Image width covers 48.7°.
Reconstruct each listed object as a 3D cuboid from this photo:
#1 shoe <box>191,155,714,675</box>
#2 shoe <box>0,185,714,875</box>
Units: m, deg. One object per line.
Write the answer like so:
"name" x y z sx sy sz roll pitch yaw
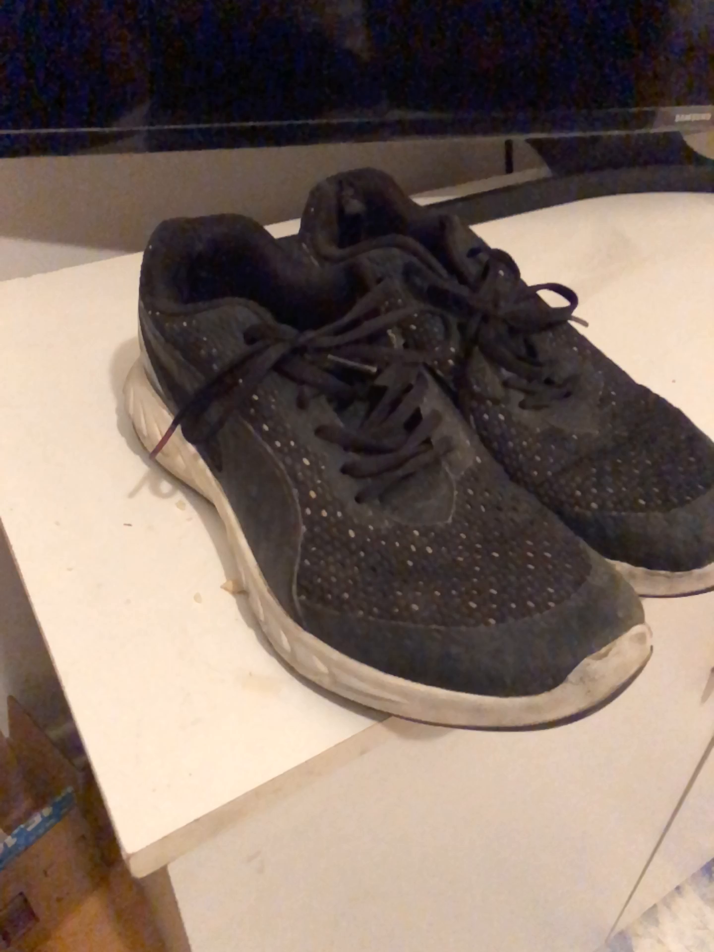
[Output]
"shoe" 0.056 -0.060 0.399 0.120 0.099 0.310 -28 47 -31
"shoe" -0.030 -0.017 0.331 0.120 0.099 0.310 -28 47 -31
